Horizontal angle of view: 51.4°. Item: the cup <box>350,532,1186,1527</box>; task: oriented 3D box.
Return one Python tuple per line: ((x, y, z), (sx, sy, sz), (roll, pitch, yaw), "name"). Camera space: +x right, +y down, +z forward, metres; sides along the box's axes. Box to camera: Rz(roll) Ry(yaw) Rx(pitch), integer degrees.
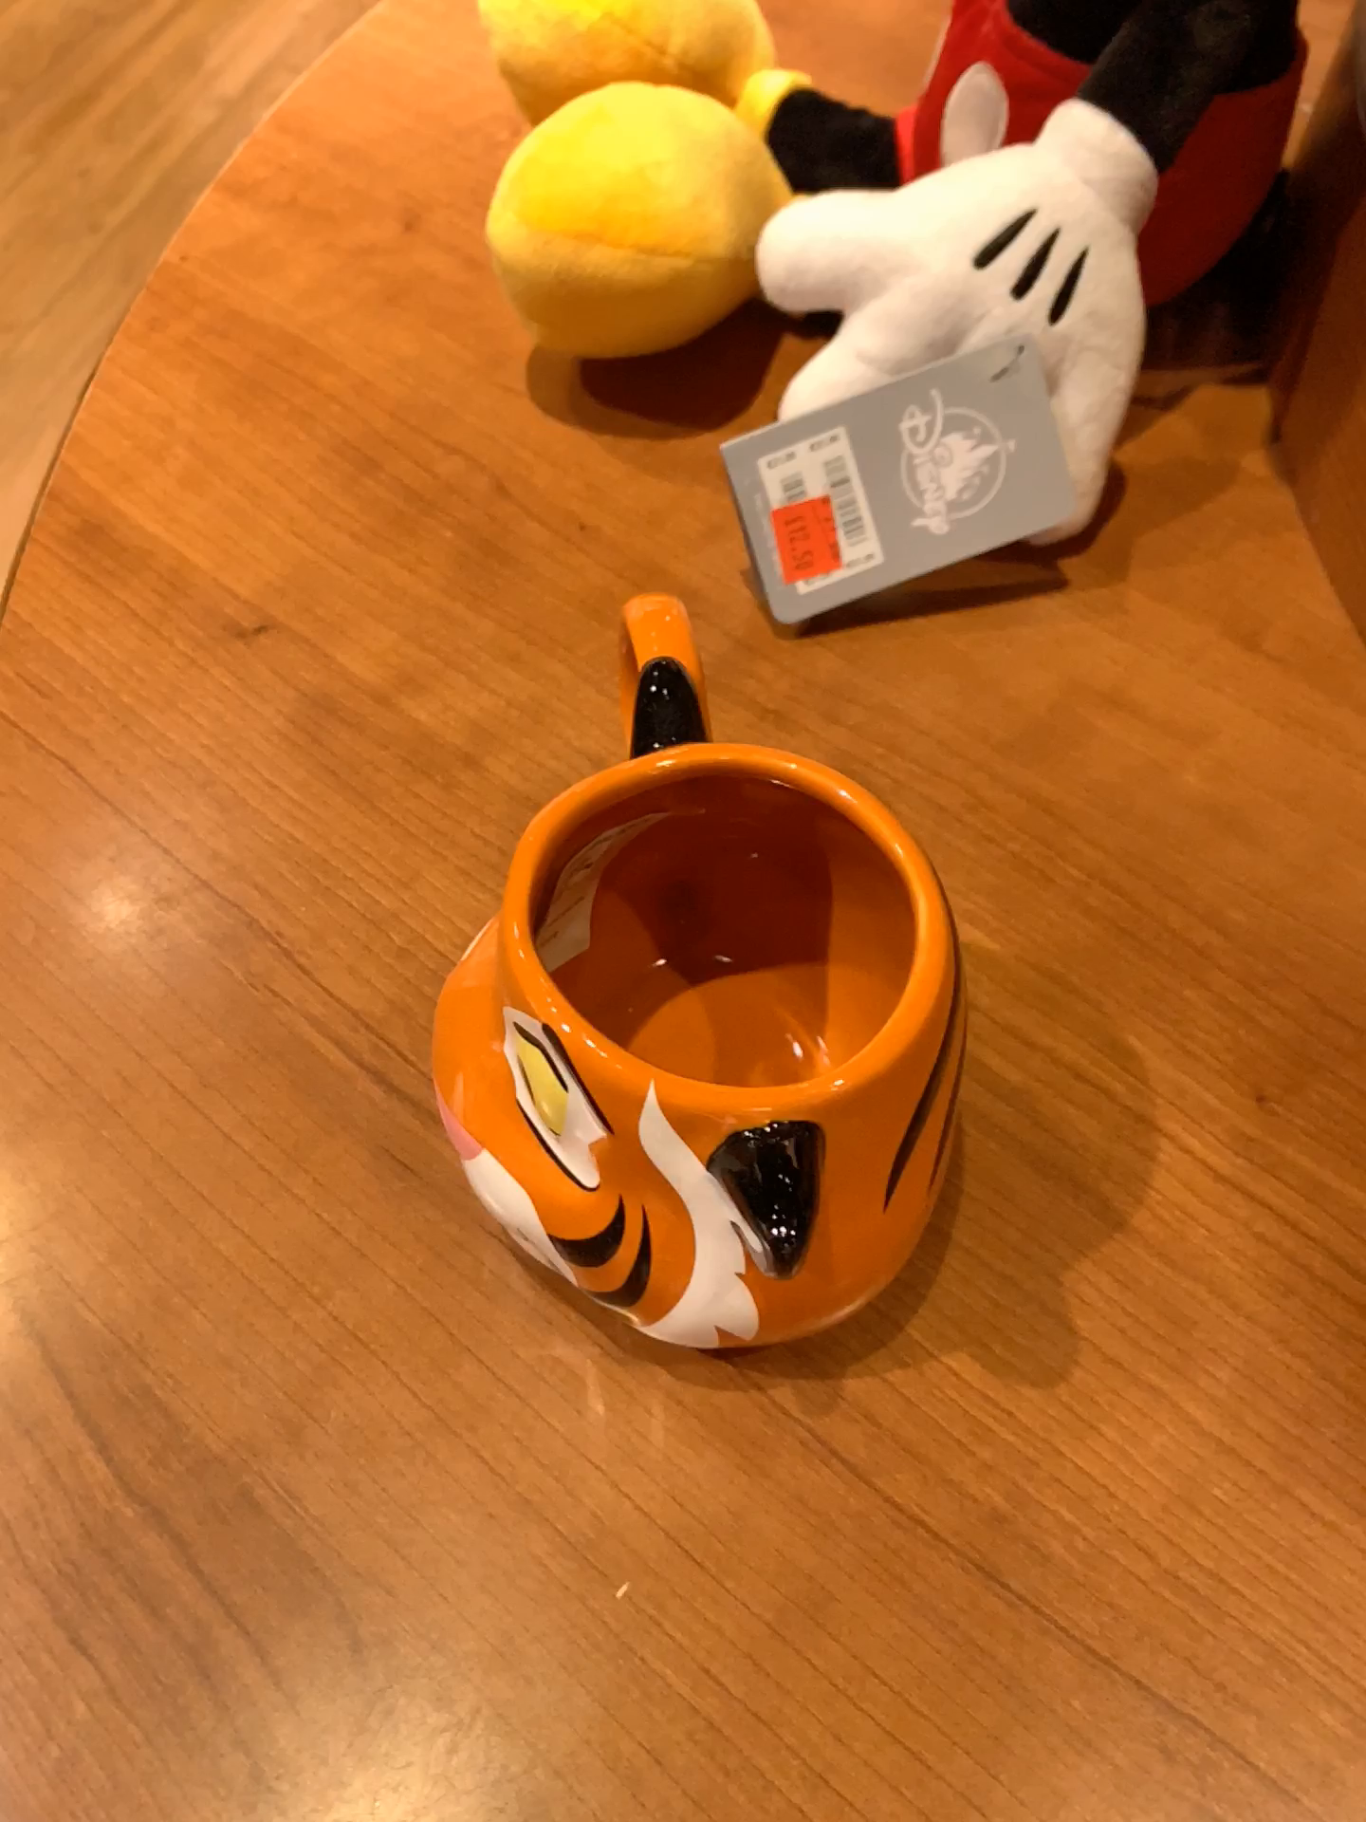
((0.002, 0.017, 0.267), (0.106, 0.087, 0.150), (-8, 56, -8), "cup")
